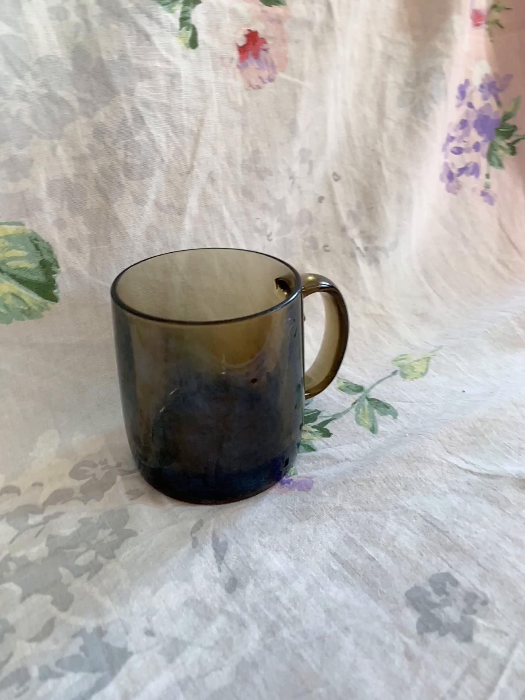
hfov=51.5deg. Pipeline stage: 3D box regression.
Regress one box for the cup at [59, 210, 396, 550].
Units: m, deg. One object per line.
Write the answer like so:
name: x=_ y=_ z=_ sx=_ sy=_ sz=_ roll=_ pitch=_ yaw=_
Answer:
cup: x=-0.013 y=0.004 z=0.259 sx=0.120 sy=0.098 sz=0.082 roll=-23 pitch=37 yaw=-29
